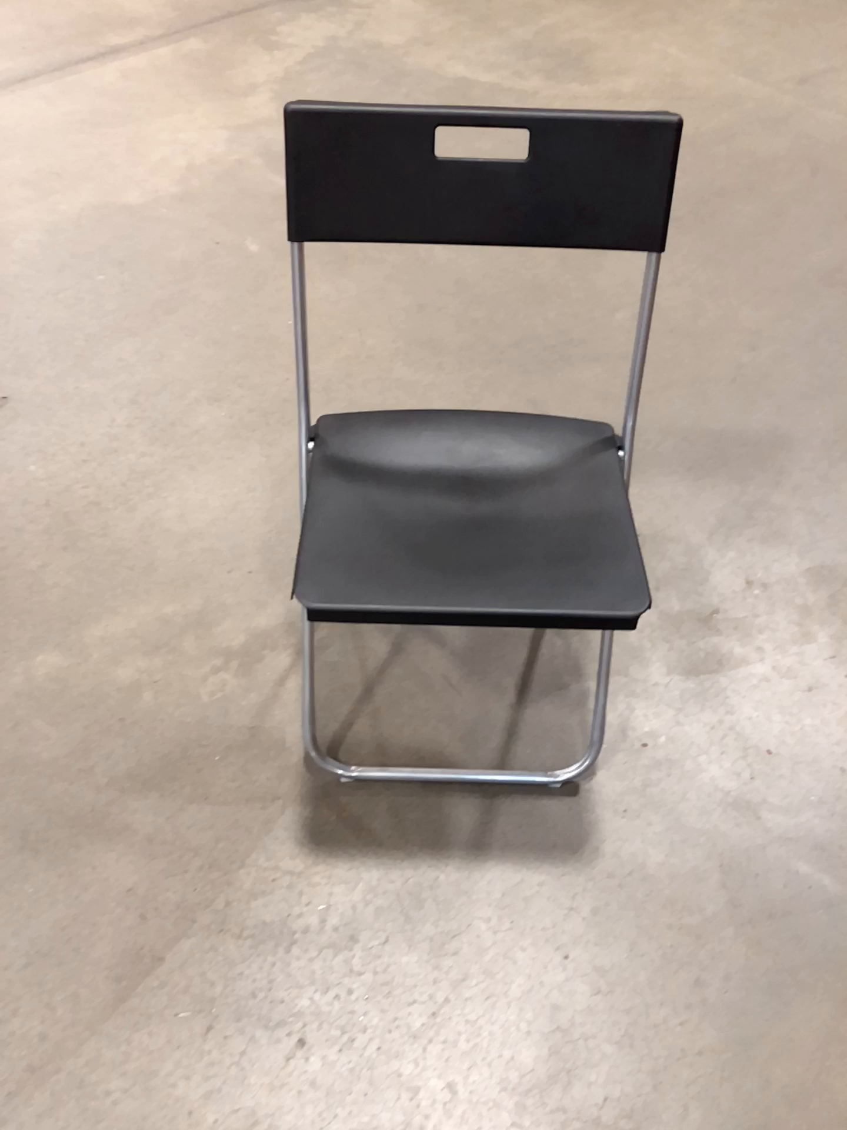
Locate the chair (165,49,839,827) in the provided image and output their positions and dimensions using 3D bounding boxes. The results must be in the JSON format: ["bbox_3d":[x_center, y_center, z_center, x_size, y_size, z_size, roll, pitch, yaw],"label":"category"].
[{"bbox_3d":[0.048,-0.086,1.073,0.460,0.757,0.462,2,50,0],"label":"chair"}]
